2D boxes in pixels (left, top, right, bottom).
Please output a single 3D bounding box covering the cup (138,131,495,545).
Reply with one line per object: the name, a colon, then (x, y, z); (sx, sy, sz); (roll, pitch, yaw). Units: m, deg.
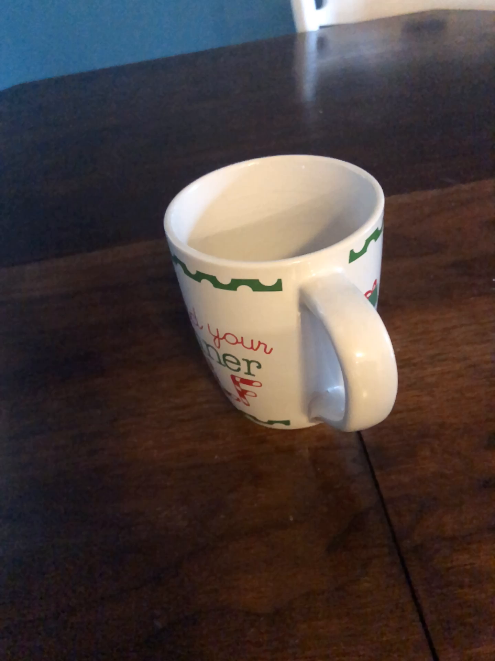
cup: (0.028, -0.008, 0.292); (0.110, 0.120, 0.161); (-20, 40, -12)
